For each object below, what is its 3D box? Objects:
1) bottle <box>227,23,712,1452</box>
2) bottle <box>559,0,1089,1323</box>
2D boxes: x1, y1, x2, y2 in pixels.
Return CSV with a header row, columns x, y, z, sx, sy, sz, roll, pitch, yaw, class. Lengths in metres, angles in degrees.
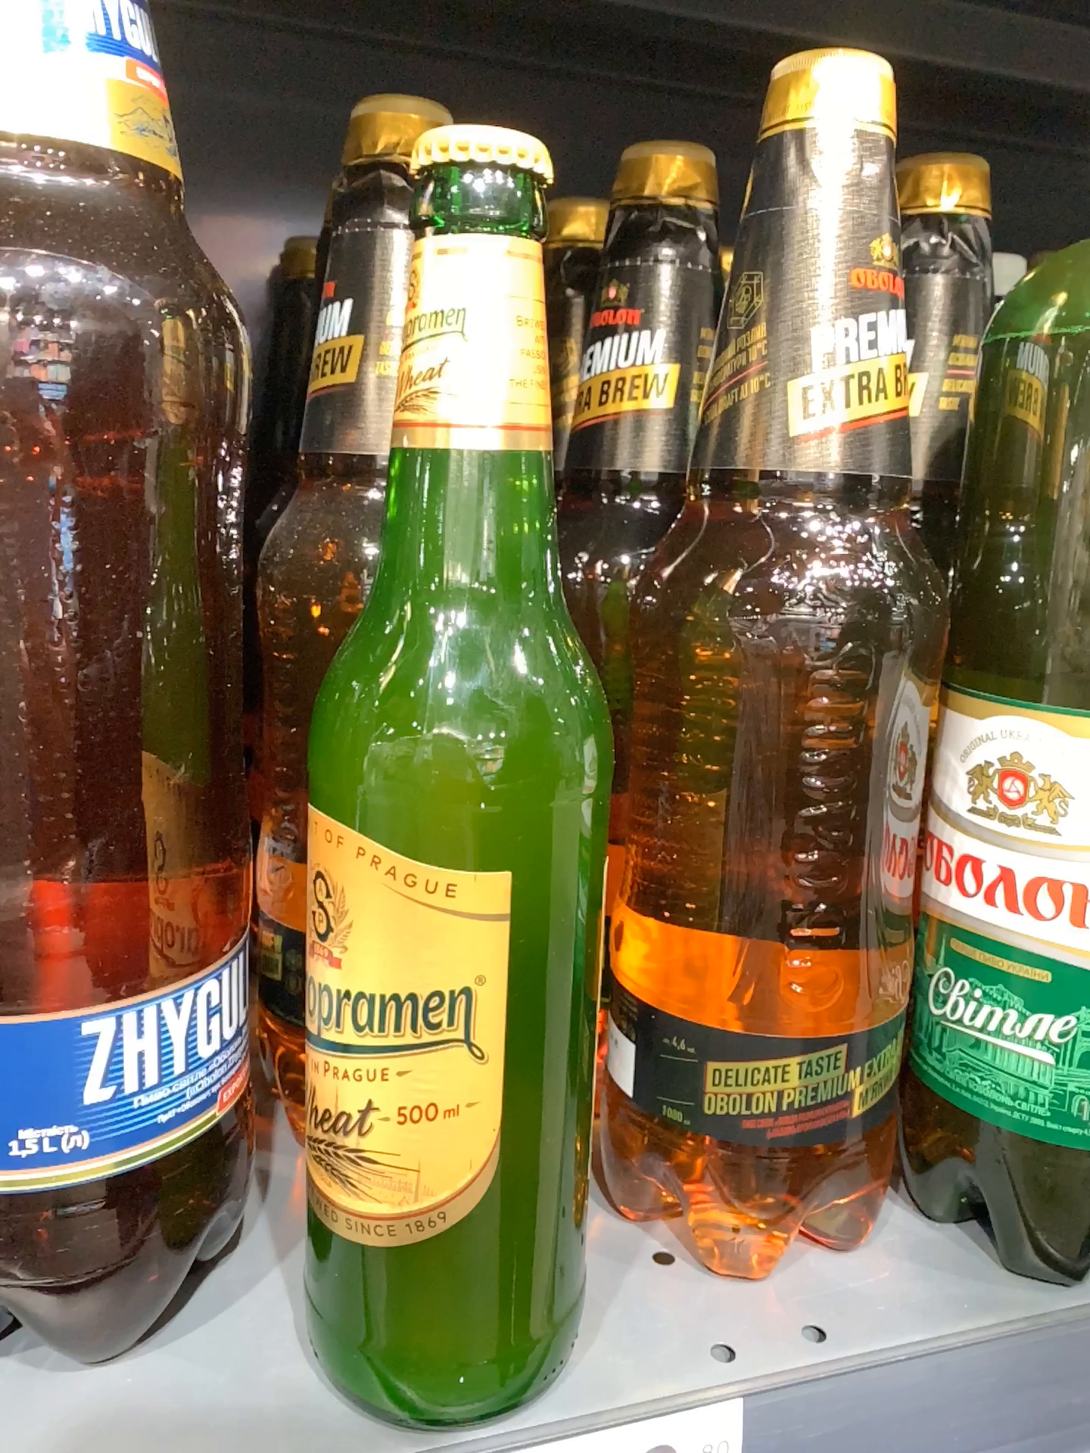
x,y,z,sx,sy,sz,roll,pitch,yaw,class
-0.017,0.011,0.236,0.062,0.255,0.068,2,11,0,bottle
0.059,-0.011,0.269,0.075,0.270,0.066,-4,13,-31,bottle
